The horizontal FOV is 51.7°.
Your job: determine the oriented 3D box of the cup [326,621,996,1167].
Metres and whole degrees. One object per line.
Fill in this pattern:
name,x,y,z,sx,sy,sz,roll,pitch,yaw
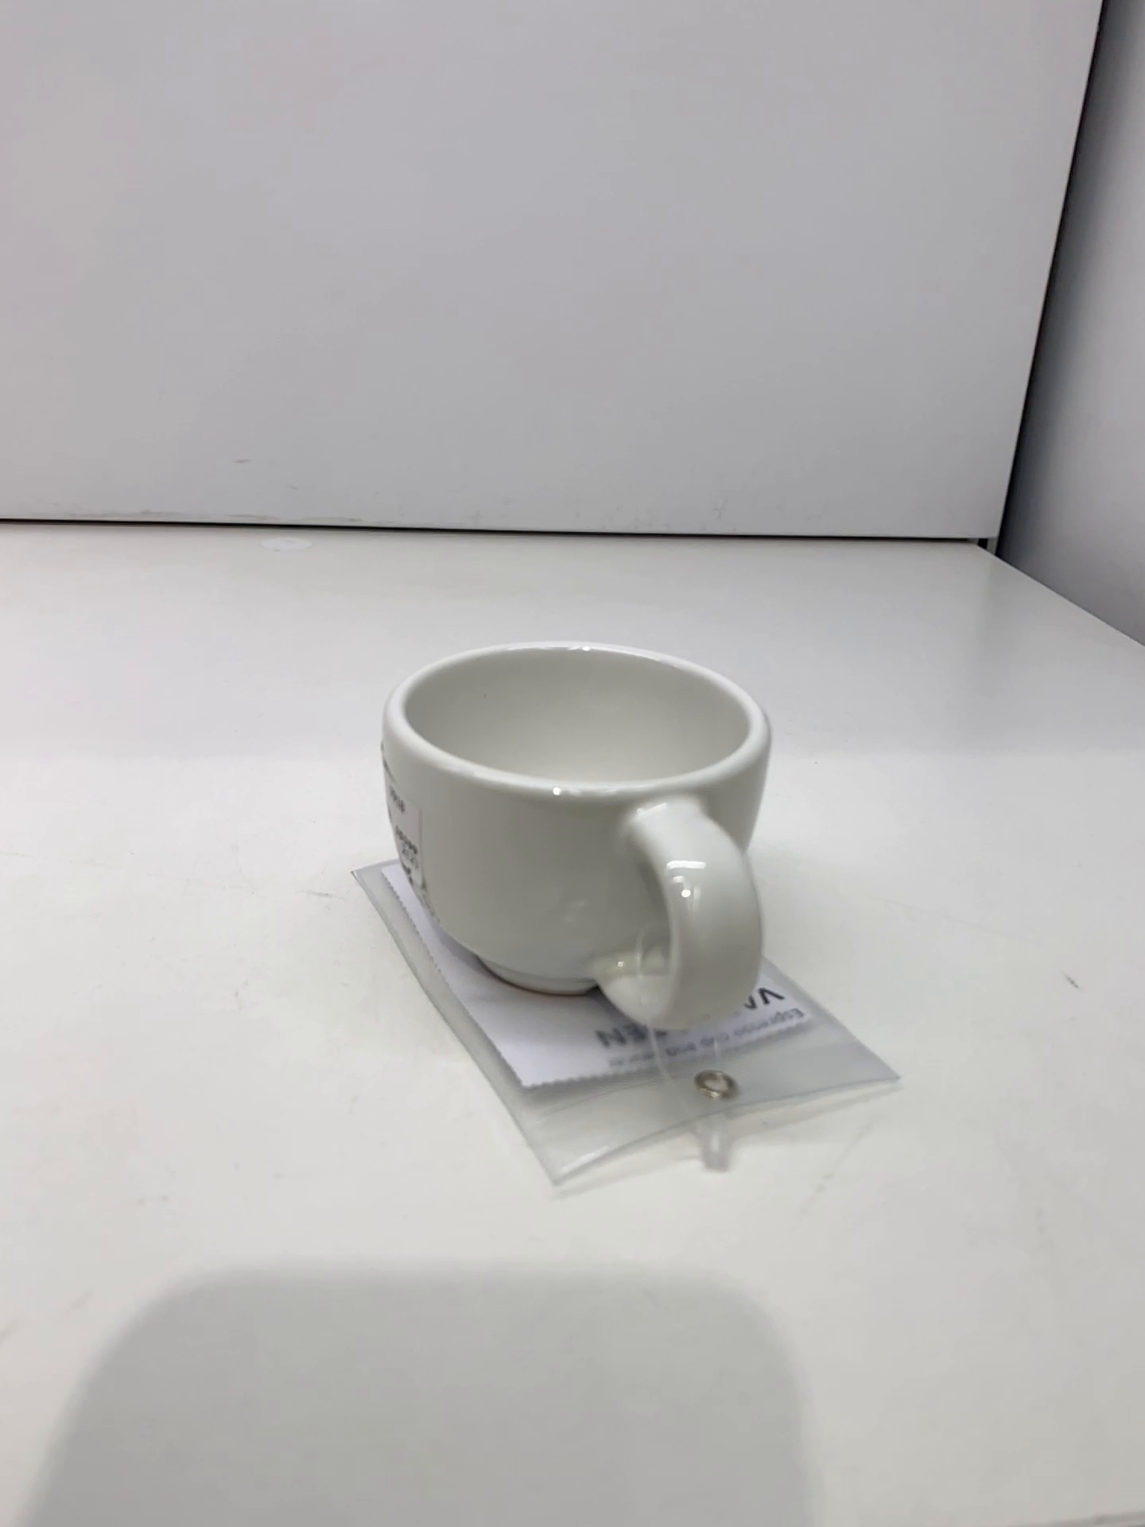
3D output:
cup,0.007,0.011,0.184,0.070,0.040,0.080,-8,26,-24
